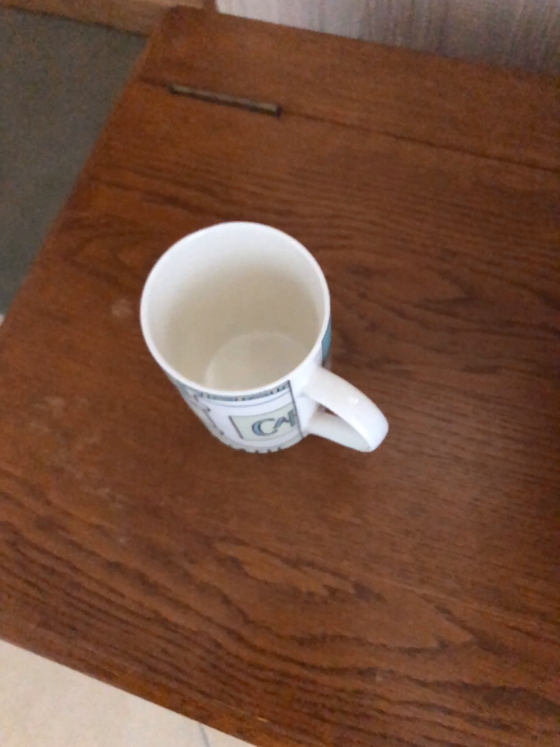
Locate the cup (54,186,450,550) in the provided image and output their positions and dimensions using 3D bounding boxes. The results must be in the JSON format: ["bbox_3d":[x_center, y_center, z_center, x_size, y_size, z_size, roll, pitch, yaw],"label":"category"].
[{"bbox_3d":[-0.008,0.004,0.274,0.120,0.100,0.080,33,76,15],"label":"cup"}]
